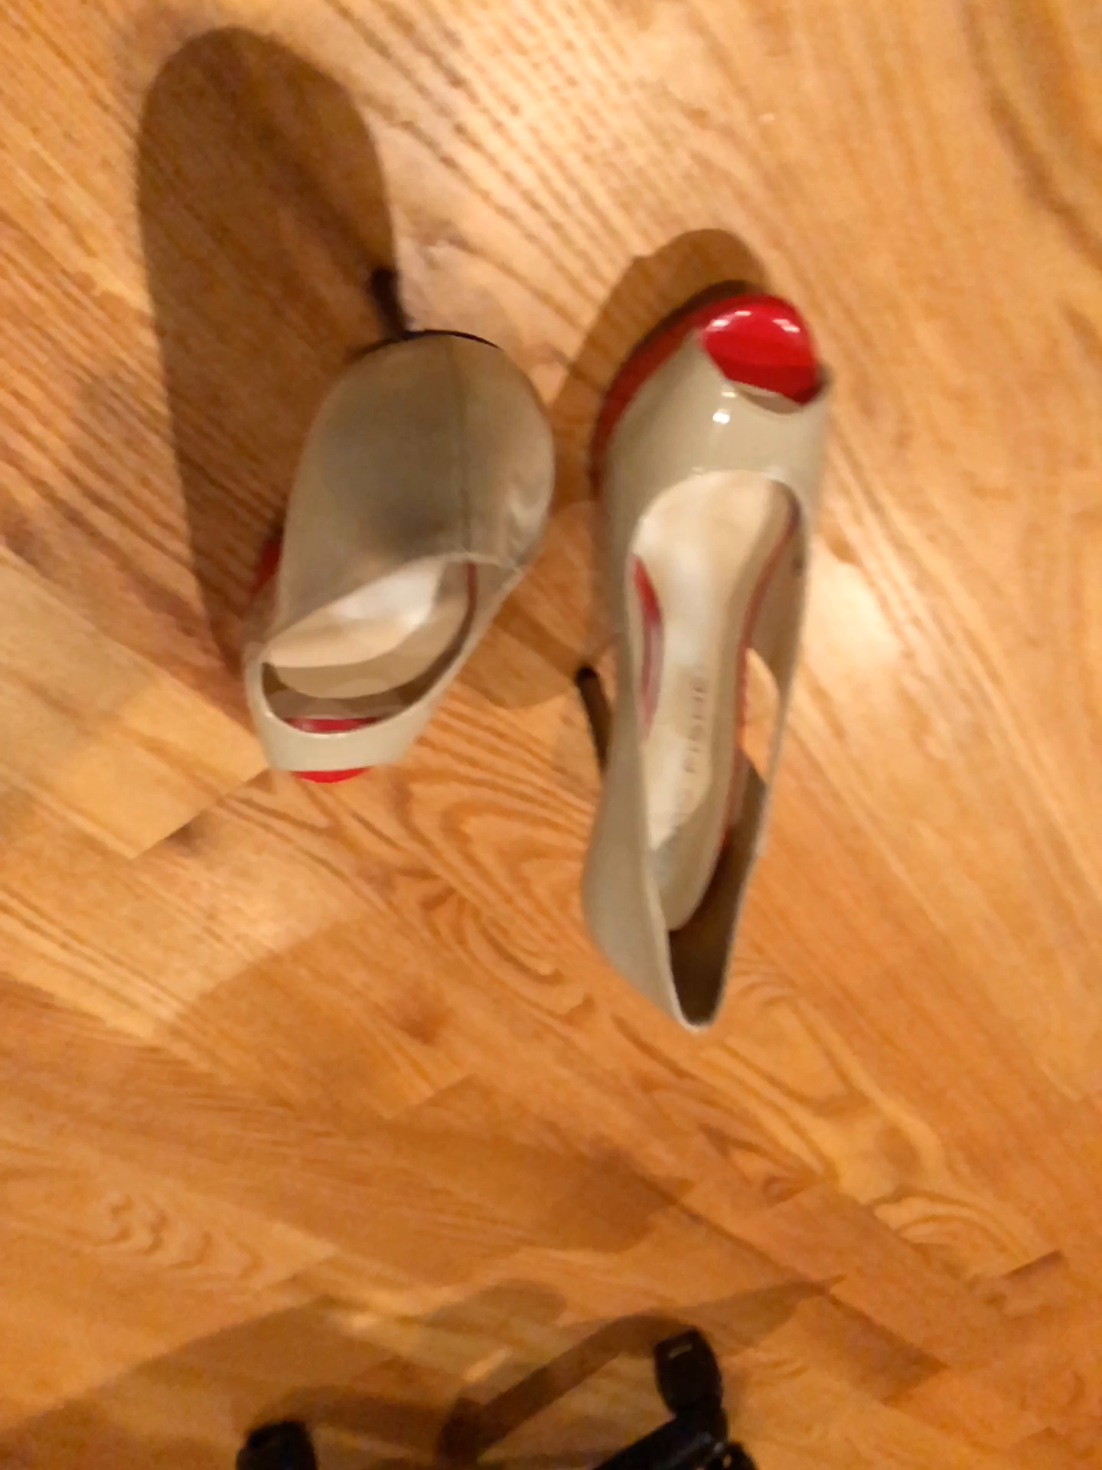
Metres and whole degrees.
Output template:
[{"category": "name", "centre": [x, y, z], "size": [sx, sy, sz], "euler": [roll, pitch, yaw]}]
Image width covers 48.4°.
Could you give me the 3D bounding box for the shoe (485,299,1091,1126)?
[{"category": "shoe", "centre": [0.051, -0.001, 0.405], "size": [0.080, 0.149, 0.221], "euler": [1, 131, -18]}]

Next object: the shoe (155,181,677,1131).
[{"category": "shoe", "centre": [-0.057, -0.011, 0.336], "size": [0.085, 0.129, 0.216], "euler": [3, 131, -20]}]
